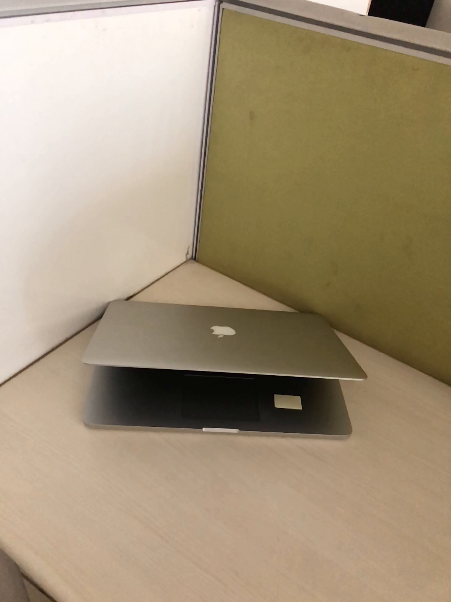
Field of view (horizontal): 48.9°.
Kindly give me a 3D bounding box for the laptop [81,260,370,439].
[{"bbox_3d":[-0.004,0.060,0.705,0.343,0.083,0.245,4,38,-5],"label":"laptop"}]
